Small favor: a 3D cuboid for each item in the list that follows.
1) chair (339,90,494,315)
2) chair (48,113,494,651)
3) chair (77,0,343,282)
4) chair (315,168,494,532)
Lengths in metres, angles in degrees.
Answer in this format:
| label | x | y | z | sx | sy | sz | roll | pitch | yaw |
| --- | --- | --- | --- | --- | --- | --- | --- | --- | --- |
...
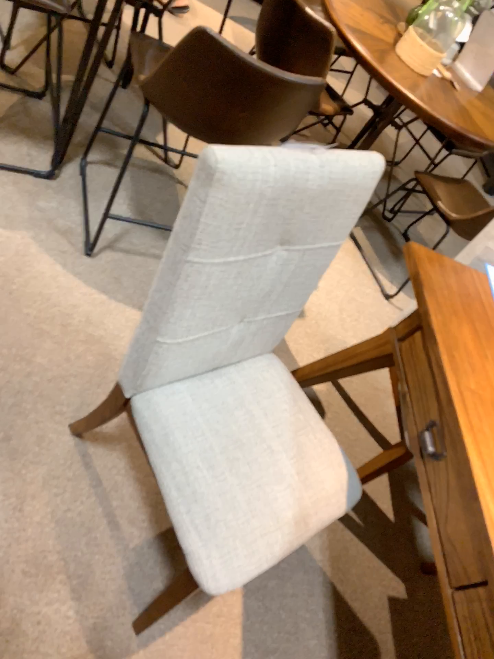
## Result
| label | x | y | z | sx | sy | sz | roll | pitch | yaw |
| --- | --- | --- | --- | --- | --- | --- | --- | --- | --- |
| chair | 0.958 | -0.532 | 2.307 | 0.526 | 0.743 | 0.598 | -4 | 60 | -35 |
| chair | 0.009 | 0.170 | 1.045 | 0.486 | 0.913 | 0.628 | -13 | 65 | -39 |
| chair | -0.201 | -0.645 | 1.623 | 0.495 | 0.793 | 0.568 | 5 | 56 | -30 |
| chair | 0.701 | 0.144 | 1.505 | 0.515 | 0.913 | 0.599 | 17 | 48 | -21 |
